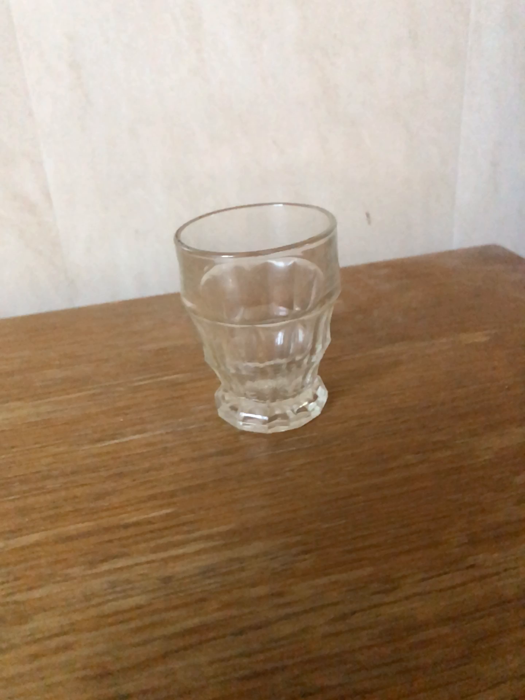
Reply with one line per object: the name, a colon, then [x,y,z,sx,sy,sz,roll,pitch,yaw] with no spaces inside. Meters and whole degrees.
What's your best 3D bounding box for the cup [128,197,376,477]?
cup: [-0.003,-0.010,0.210,0.060,0.070,0.060,-3,27,2]
